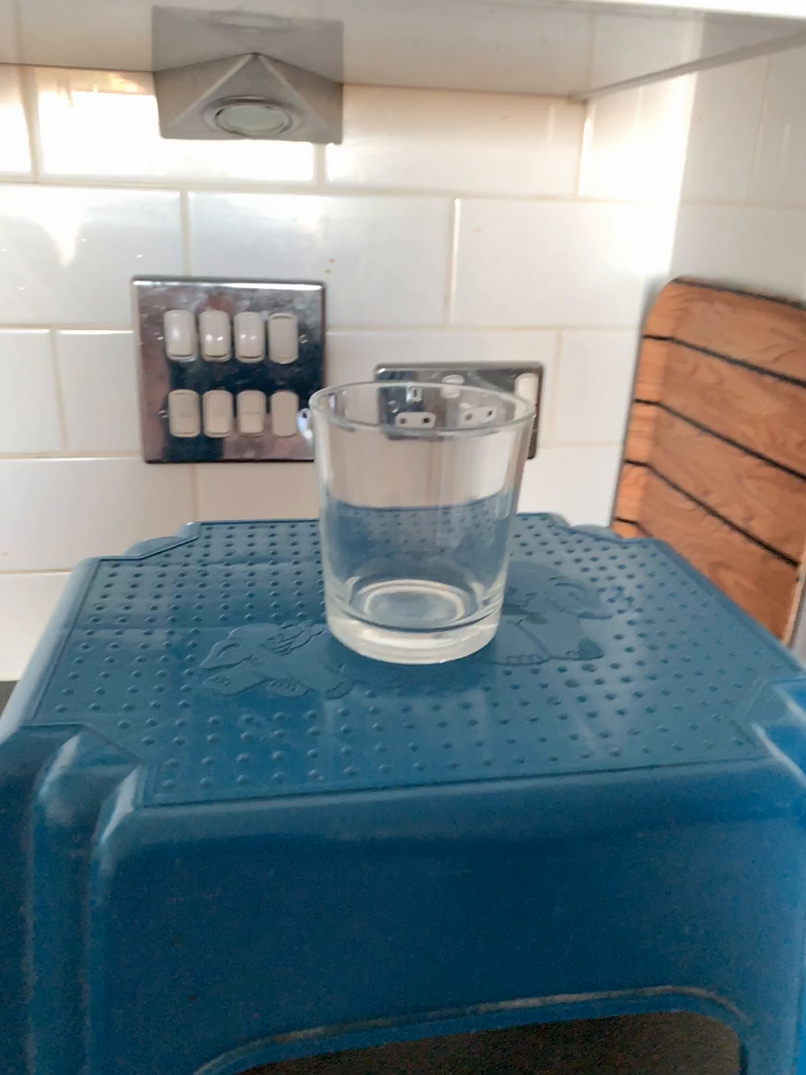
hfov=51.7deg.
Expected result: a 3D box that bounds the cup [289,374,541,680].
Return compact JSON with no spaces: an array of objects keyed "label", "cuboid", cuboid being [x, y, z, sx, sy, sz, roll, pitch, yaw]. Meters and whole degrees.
[{"label":"cup","cuboid":[0.006,-0.008,0.300,0.076,0.085,0.067,6,22,9]}]
